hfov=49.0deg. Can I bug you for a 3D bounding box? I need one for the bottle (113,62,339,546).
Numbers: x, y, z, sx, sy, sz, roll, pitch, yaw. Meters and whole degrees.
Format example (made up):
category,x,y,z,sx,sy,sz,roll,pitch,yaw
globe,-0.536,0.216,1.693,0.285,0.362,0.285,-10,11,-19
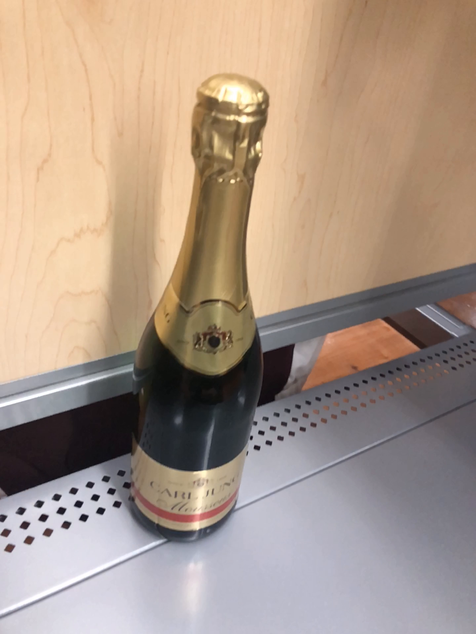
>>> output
category,x,y,z,sx,sy,sz,roll,pitch,yaw
bottle,-0.026,0.017,0.327,0.090,0.298,0.091,6,35,-4
